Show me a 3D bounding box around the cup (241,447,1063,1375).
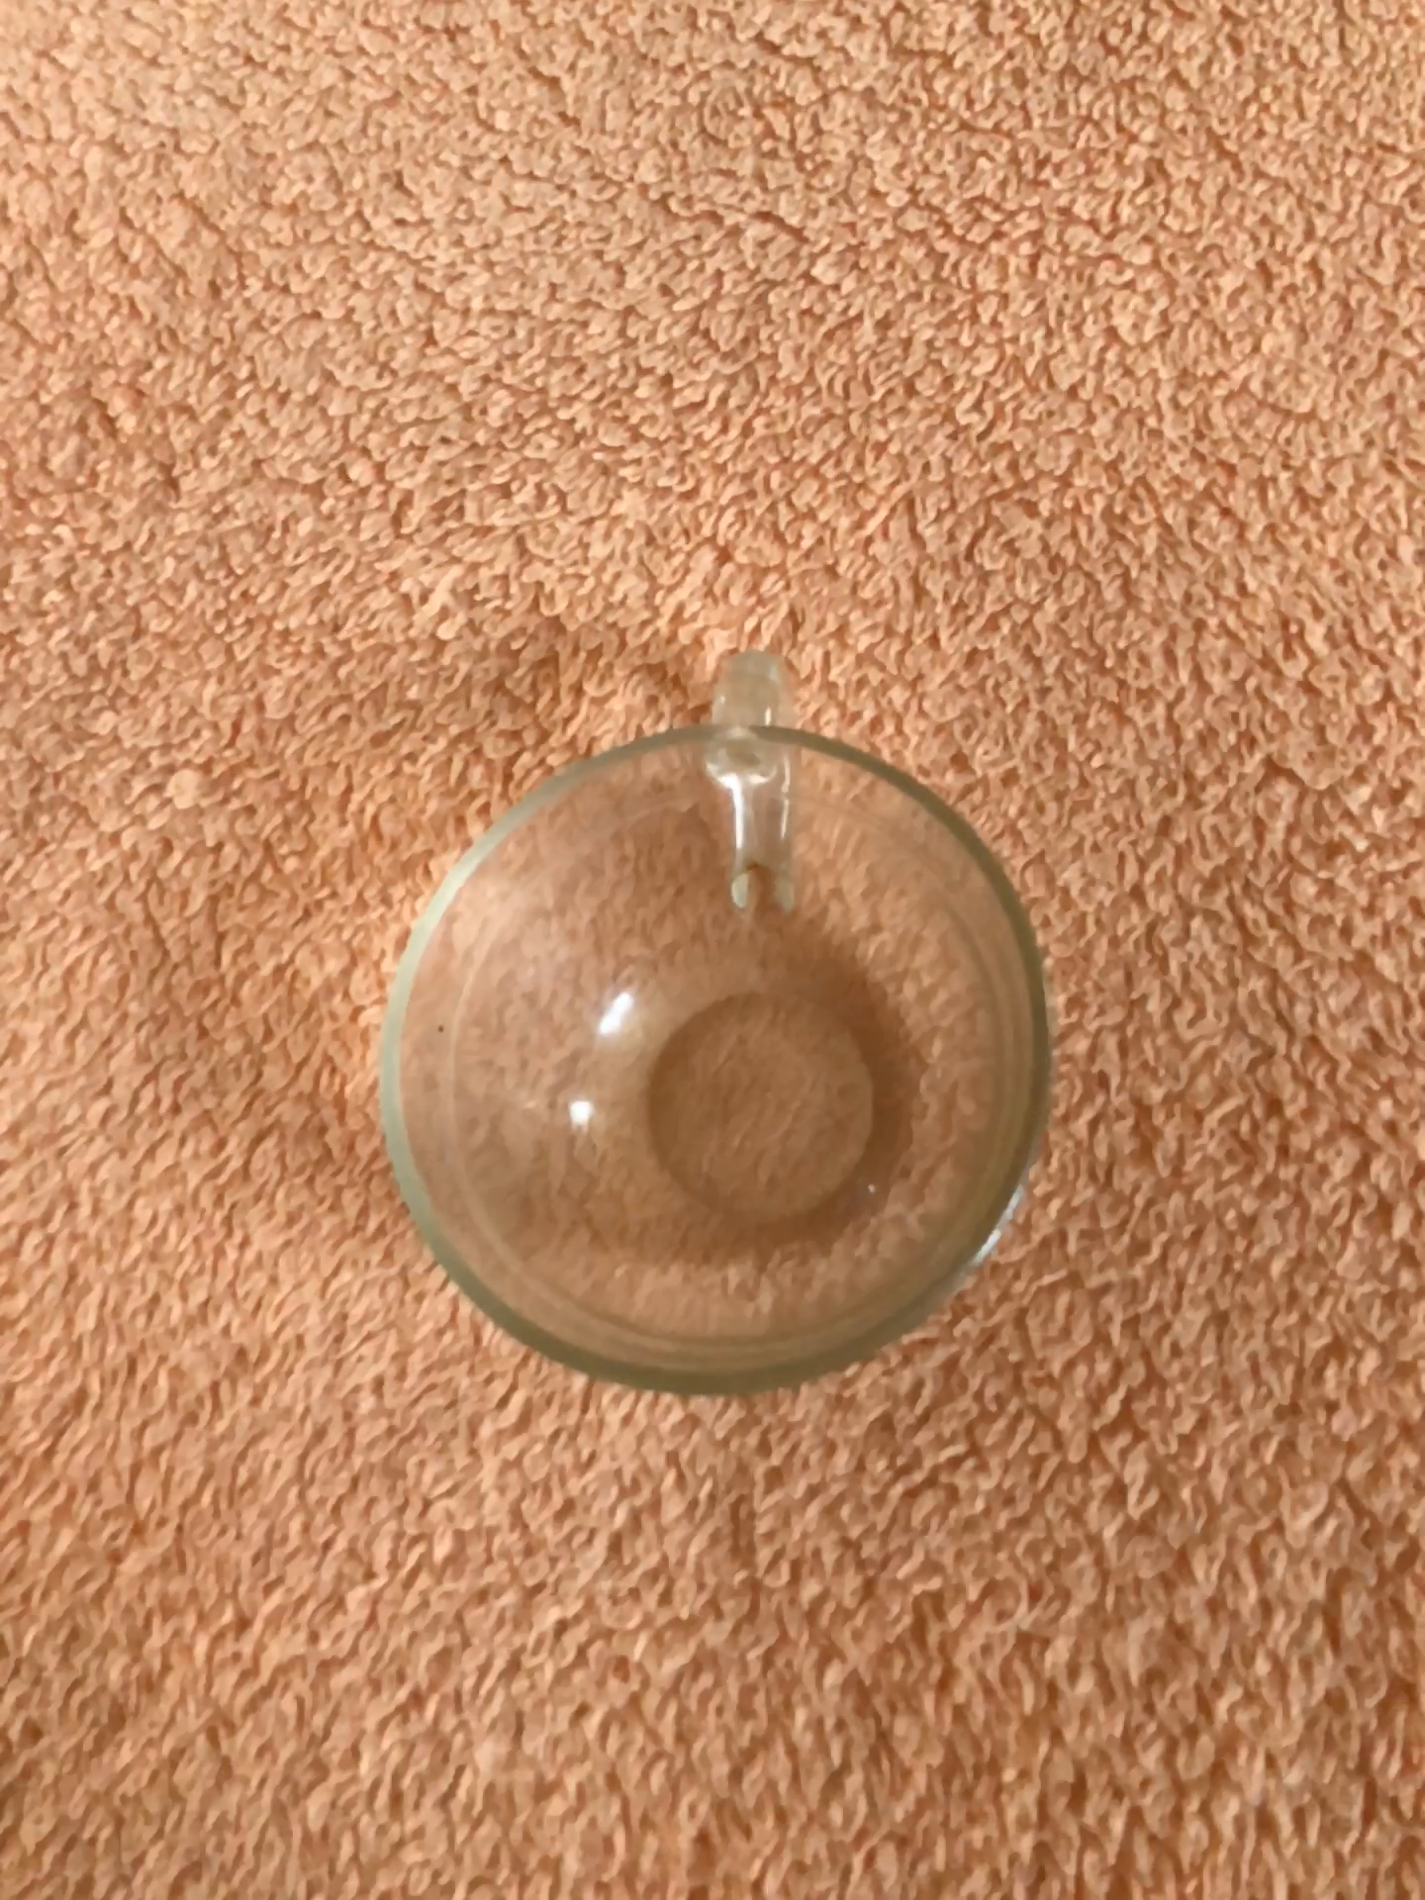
[{"bbox_3d":[-0.005,-0.003,0.205,0.090,0.040,0.110,-2,74,8],"label":"cup"}]
